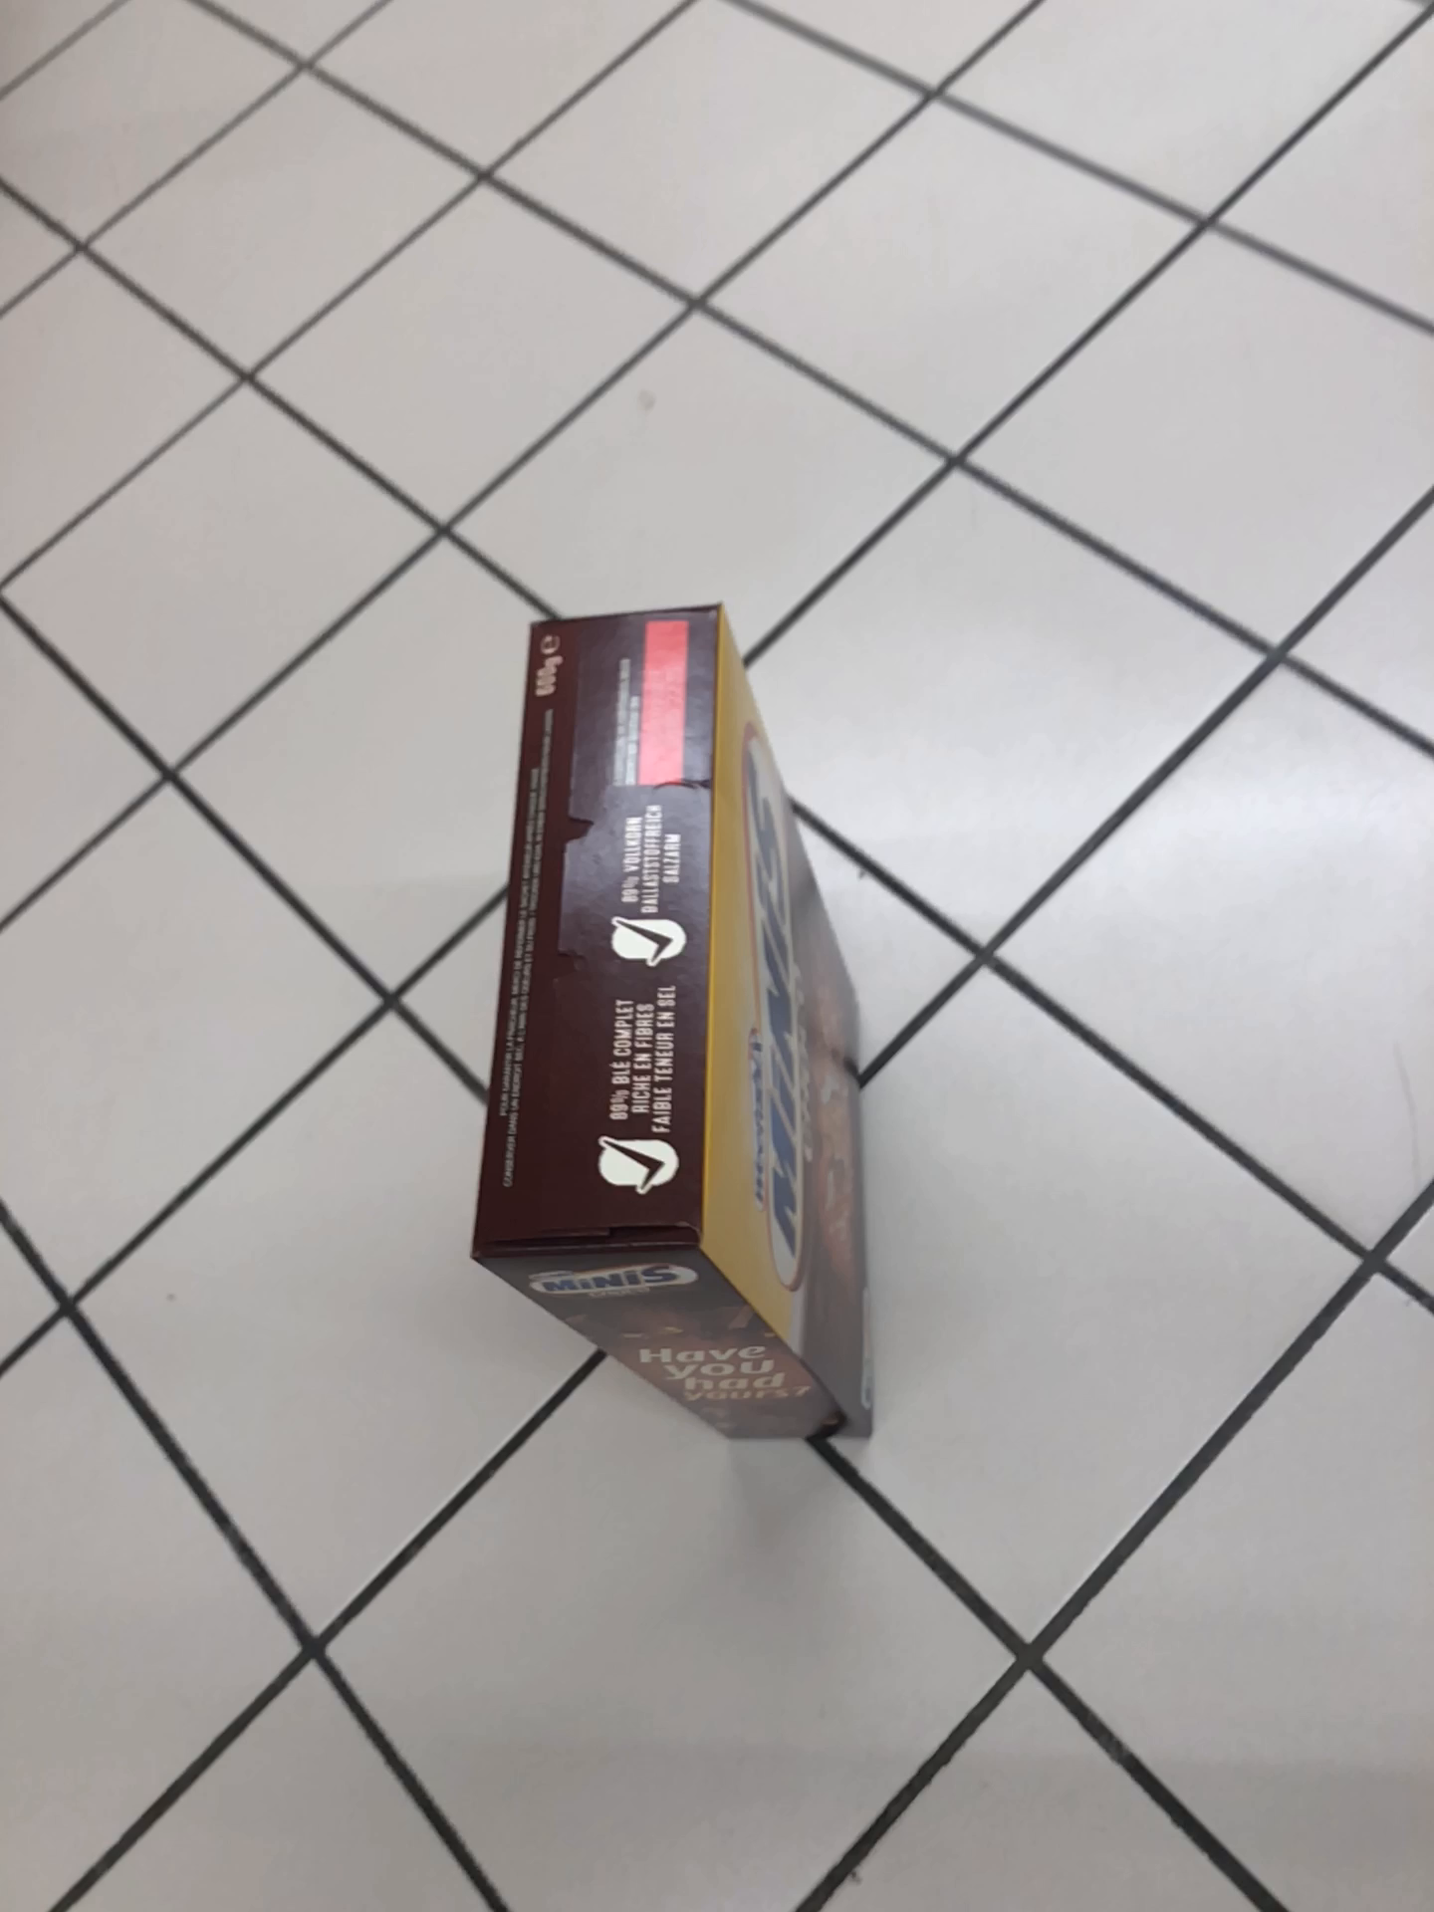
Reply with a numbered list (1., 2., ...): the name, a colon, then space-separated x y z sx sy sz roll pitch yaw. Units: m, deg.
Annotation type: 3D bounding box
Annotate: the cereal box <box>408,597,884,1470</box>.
1. cereal box: -0.004 0.052 0.546 0.080 0.289 0.201 -5 64 11
